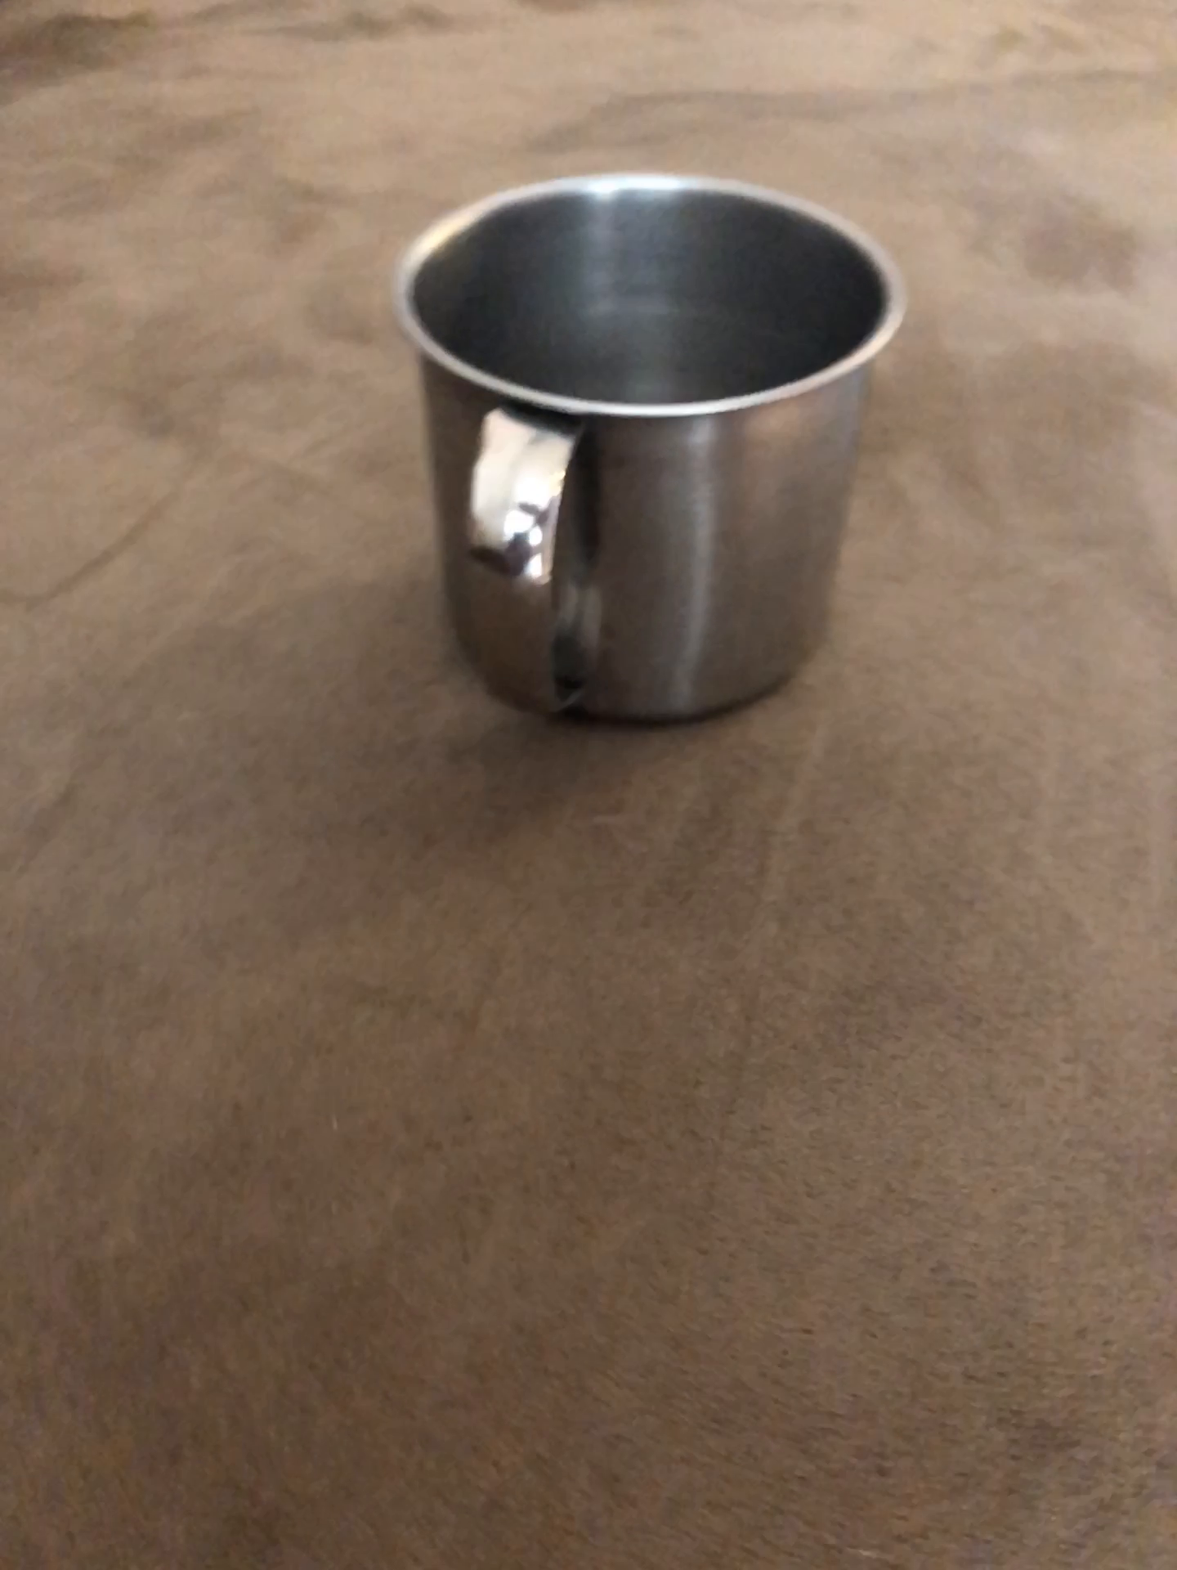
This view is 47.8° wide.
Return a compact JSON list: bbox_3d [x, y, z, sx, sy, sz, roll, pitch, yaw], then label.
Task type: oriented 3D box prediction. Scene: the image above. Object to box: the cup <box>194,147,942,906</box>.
[{"bbox_3d":[0.005,-0.052,0.237,0.090,0.069,0.111,12,48,12],"label":"cup"}]
